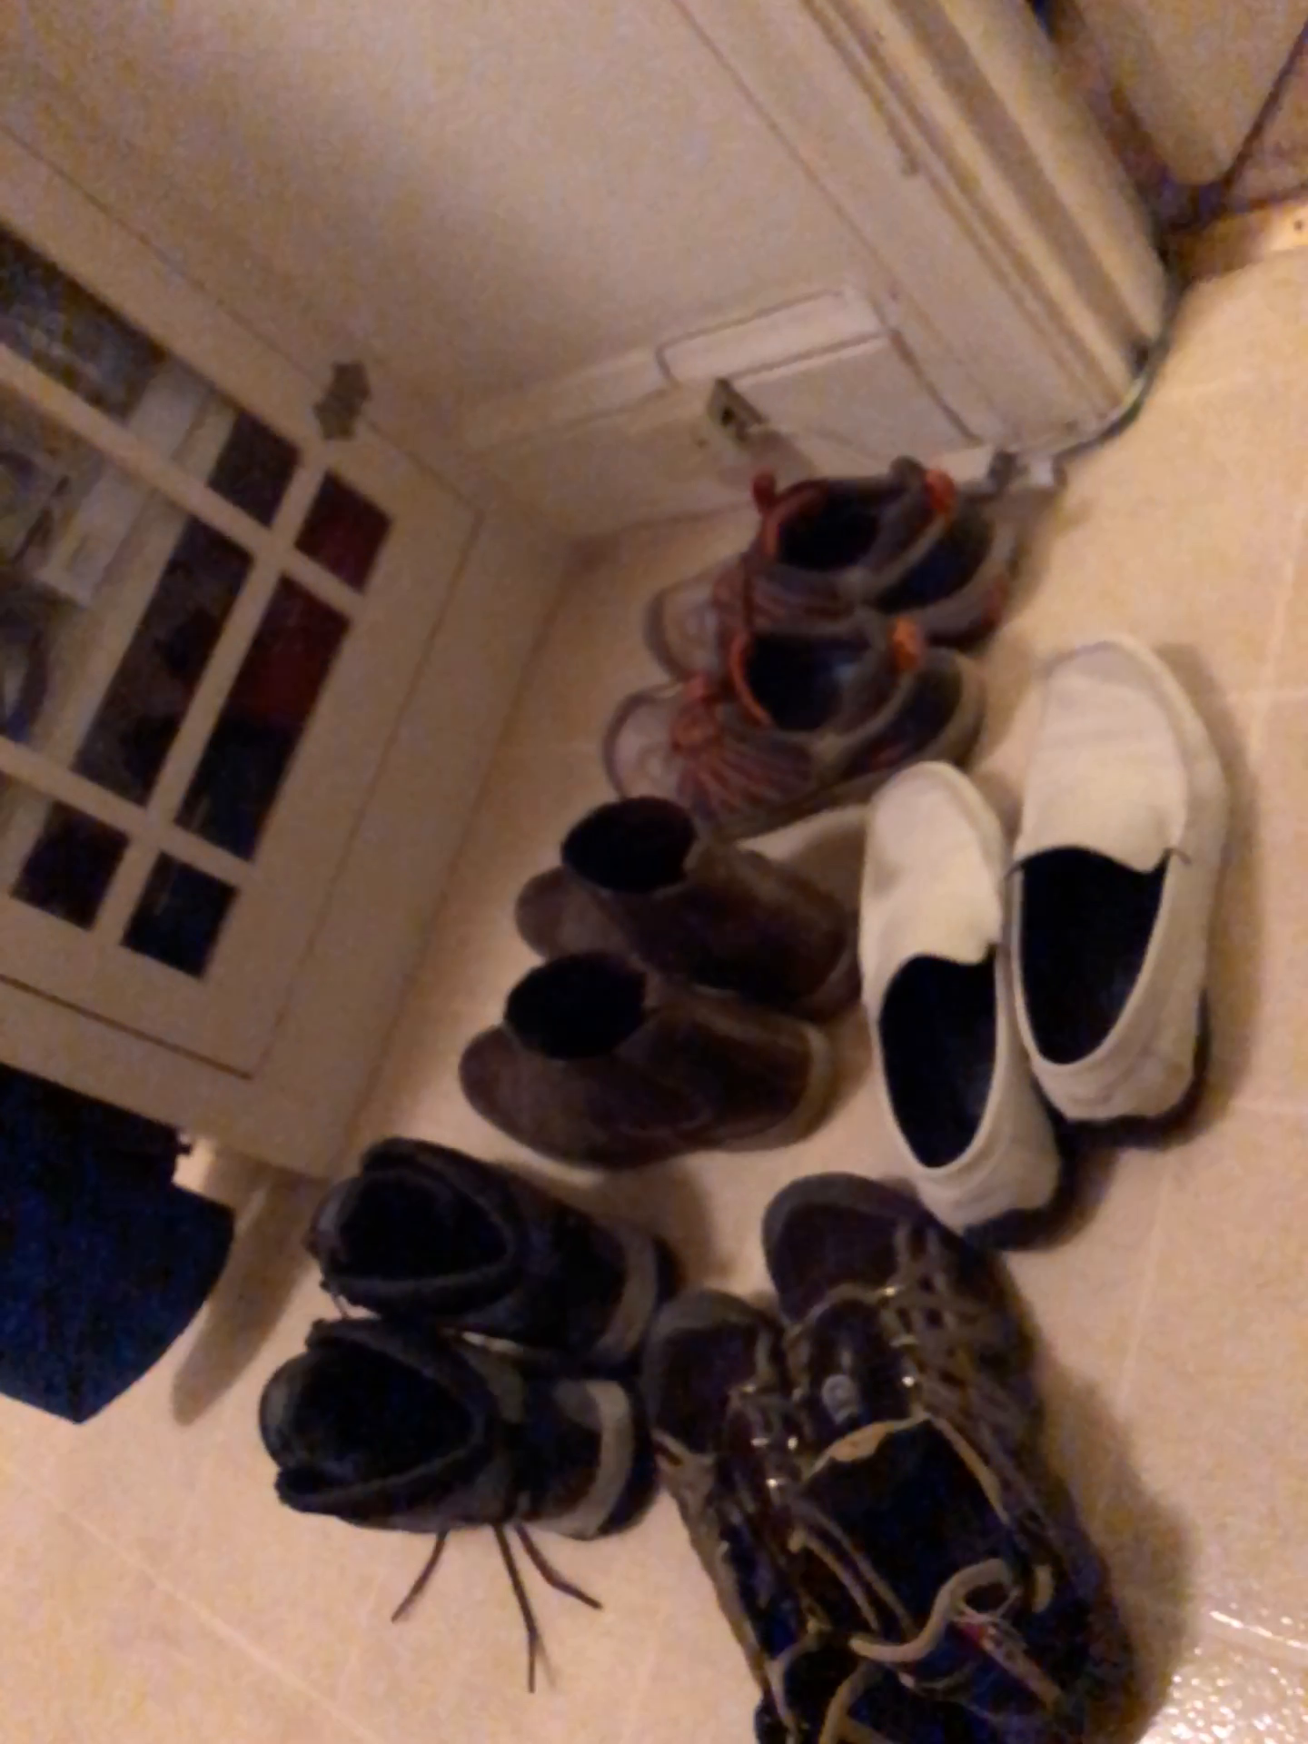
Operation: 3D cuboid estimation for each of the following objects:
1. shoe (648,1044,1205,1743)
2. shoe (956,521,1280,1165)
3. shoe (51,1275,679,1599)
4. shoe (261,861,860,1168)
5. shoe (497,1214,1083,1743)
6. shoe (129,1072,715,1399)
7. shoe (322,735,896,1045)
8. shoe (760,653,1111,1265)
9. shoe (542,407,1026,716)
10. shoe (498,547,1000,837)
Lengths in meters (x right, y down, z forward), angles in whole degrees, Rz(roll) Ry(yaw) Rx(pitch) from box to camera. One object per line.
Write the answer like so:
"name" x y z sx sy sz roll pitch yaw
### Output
"shoe" 0.116 0.246 0.704 0.110 0.123 0.294 -41 42 17
"shoe" 0.237 -0.016 0.766 0.110 0.113 0.304 -17 53 37
"shoe" -0.178 0.332 0.874 0.324 0.192 0.110 -9 58 41
"shoe" -0.065 0.101 0.931 0.324 0.192 0.110 -8 59 42
"shoe" 0.050 0.325 0.711 0.110 0.123 0.294 -49 40 8
"shoe" -0.155 0.225 0.933 0.324 0.192 0.110 -2 63 44
"shoe" -0.038 0.005 0.967 0.324 0.192 0.110 6 68 46
"shoe" 0.147 0.044 0.811 0.110 0.113 0.304 -26 48 30
"shoe" 0.082 -0.204 1.018 0.314 0.113 0.110 -4 62 43
"shoe" 0.054 -0.108 0.973 0.314 0.113 0.110 -4 62 43
